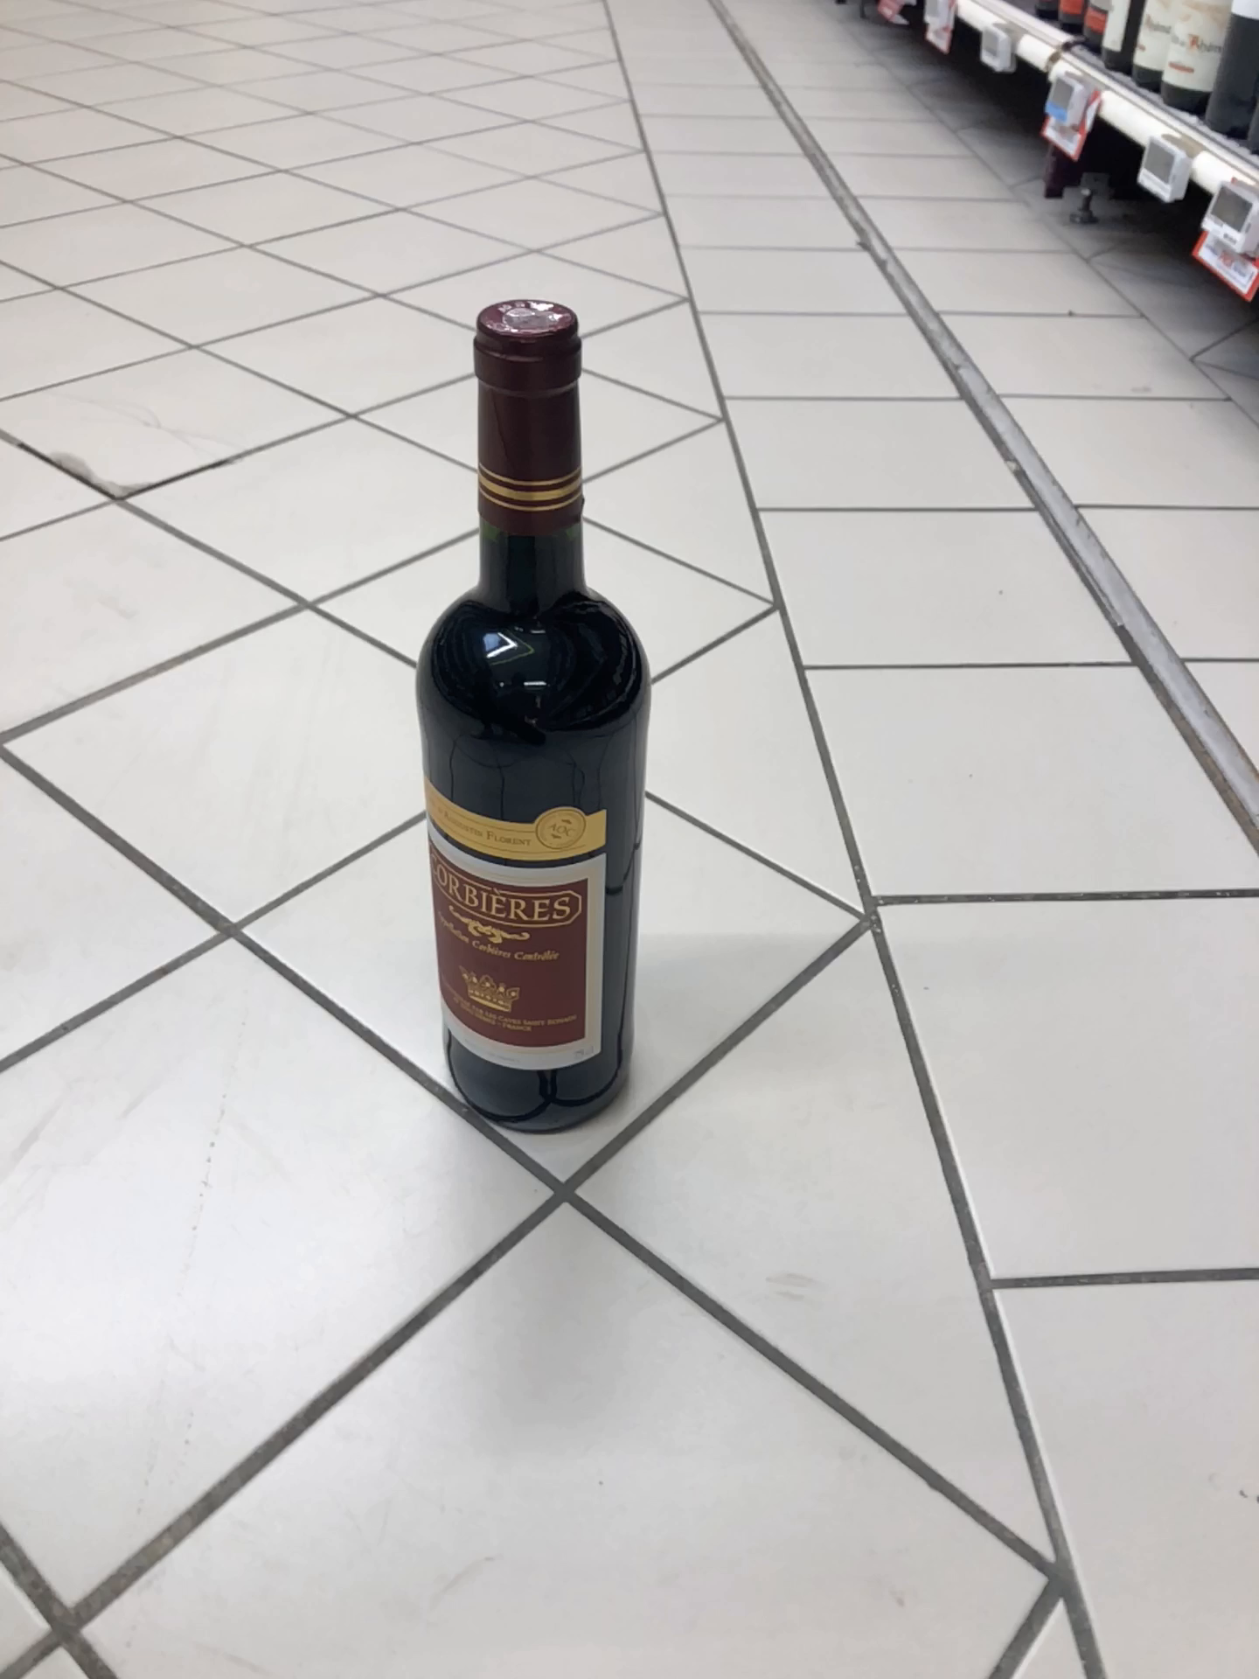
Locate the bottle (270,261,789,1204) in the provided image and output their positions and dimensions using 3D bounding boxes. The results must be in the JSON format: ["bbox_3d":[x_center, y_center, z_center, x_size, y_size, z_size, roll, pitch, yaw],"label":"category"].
[{"bbox_3d":[-0.027,-0.022,0.438,0.100,0.268,0.101,2,39,-1],"label":"bottle"}]
